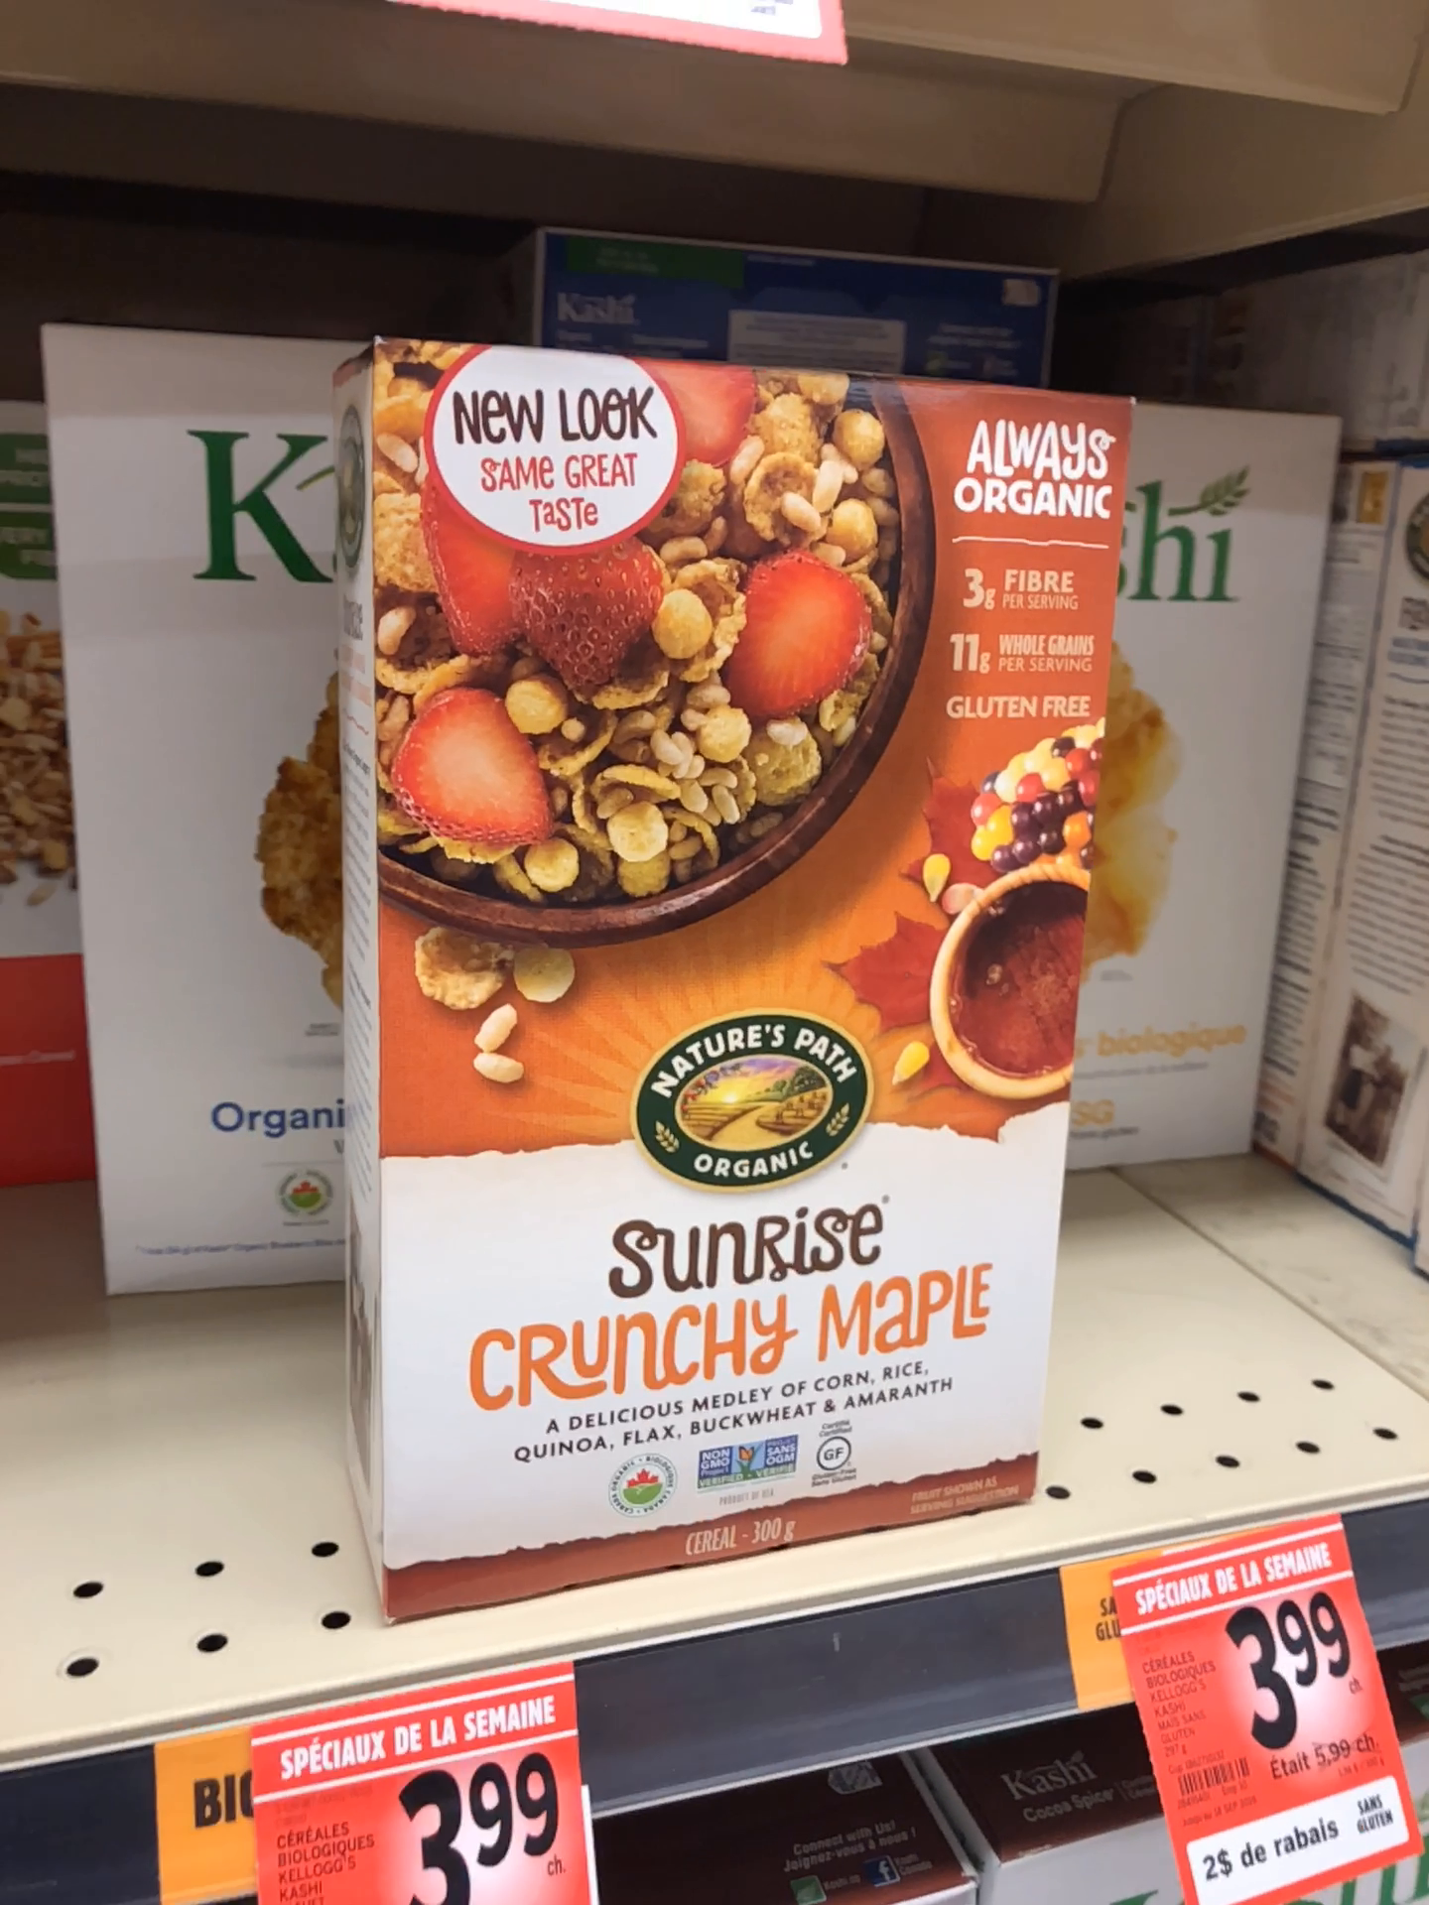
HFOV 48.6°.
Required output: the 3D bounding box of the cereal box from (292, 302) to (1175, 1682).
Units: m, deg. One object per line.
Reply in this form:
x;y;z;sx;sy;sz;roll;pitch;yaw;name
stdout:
0.000;0.009;0.354;0.170;0.269;0.060;-3;14;-19;cereal box
